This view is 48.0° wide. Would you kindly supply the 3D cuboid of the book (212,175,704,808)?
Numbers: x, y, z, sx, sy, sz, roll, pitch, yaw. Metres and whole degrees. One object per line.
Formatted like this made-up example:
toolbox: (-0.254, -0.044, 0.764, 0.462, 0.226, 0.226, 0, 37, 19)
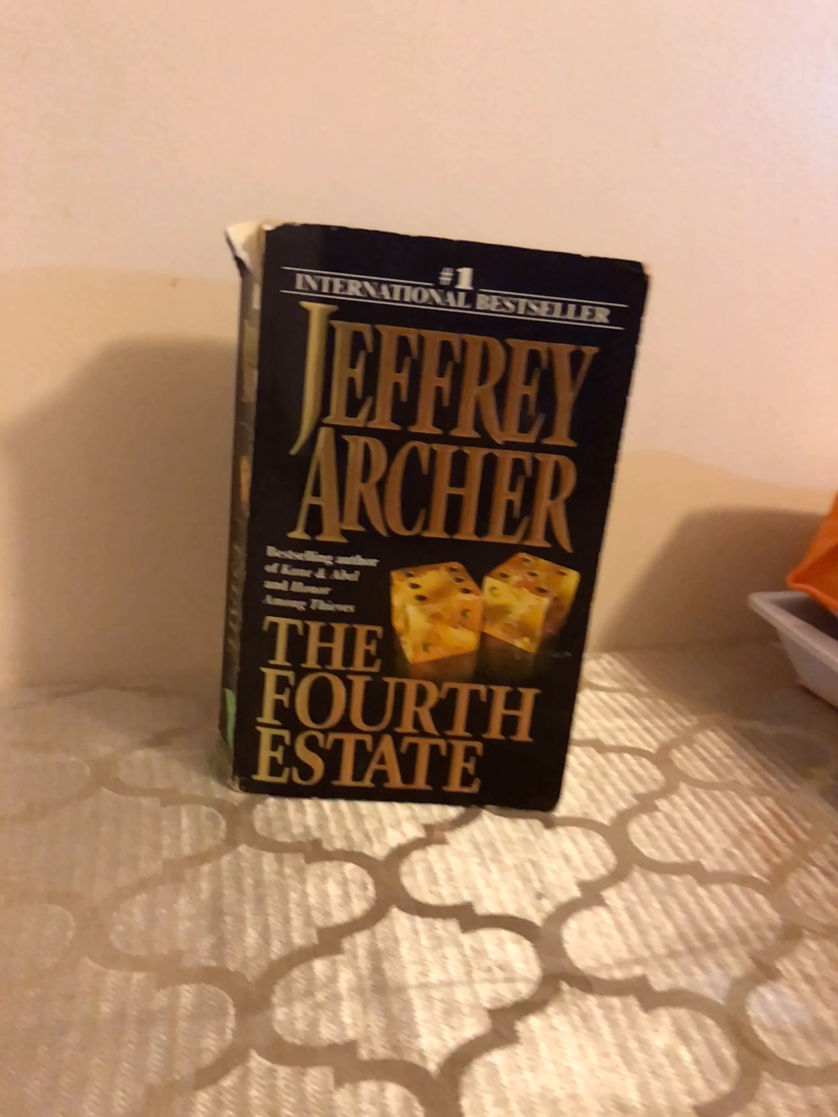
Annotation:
book: (0.005, -0.018, 0.289, 0.120, 0.169, 0.060, 4, 15, -5)
